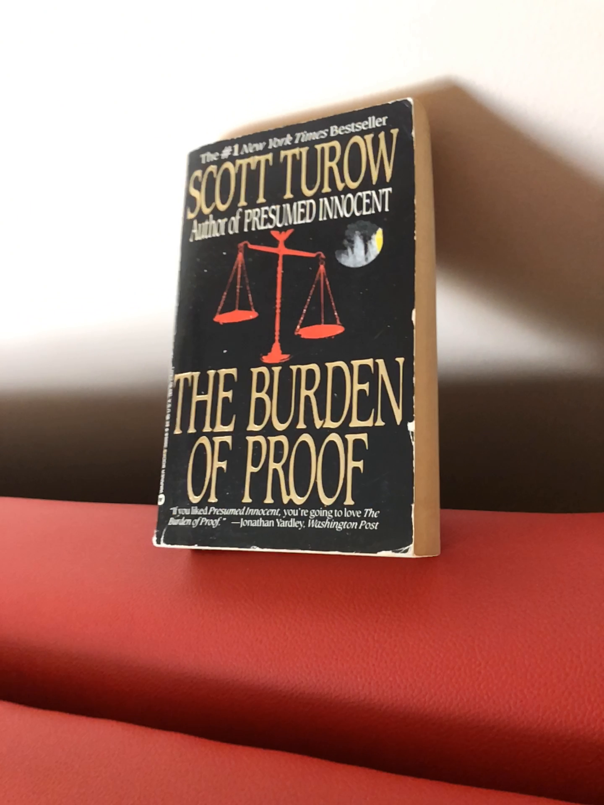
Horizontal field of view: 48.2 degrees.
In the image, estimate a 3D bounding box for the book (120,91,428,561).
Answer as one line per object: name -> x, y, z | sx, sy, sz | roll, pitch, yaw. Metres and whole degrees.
book -> -0.007, -0.026, 0.273 | 0.106, 0.045, 0.171 | -3, 75, 21
